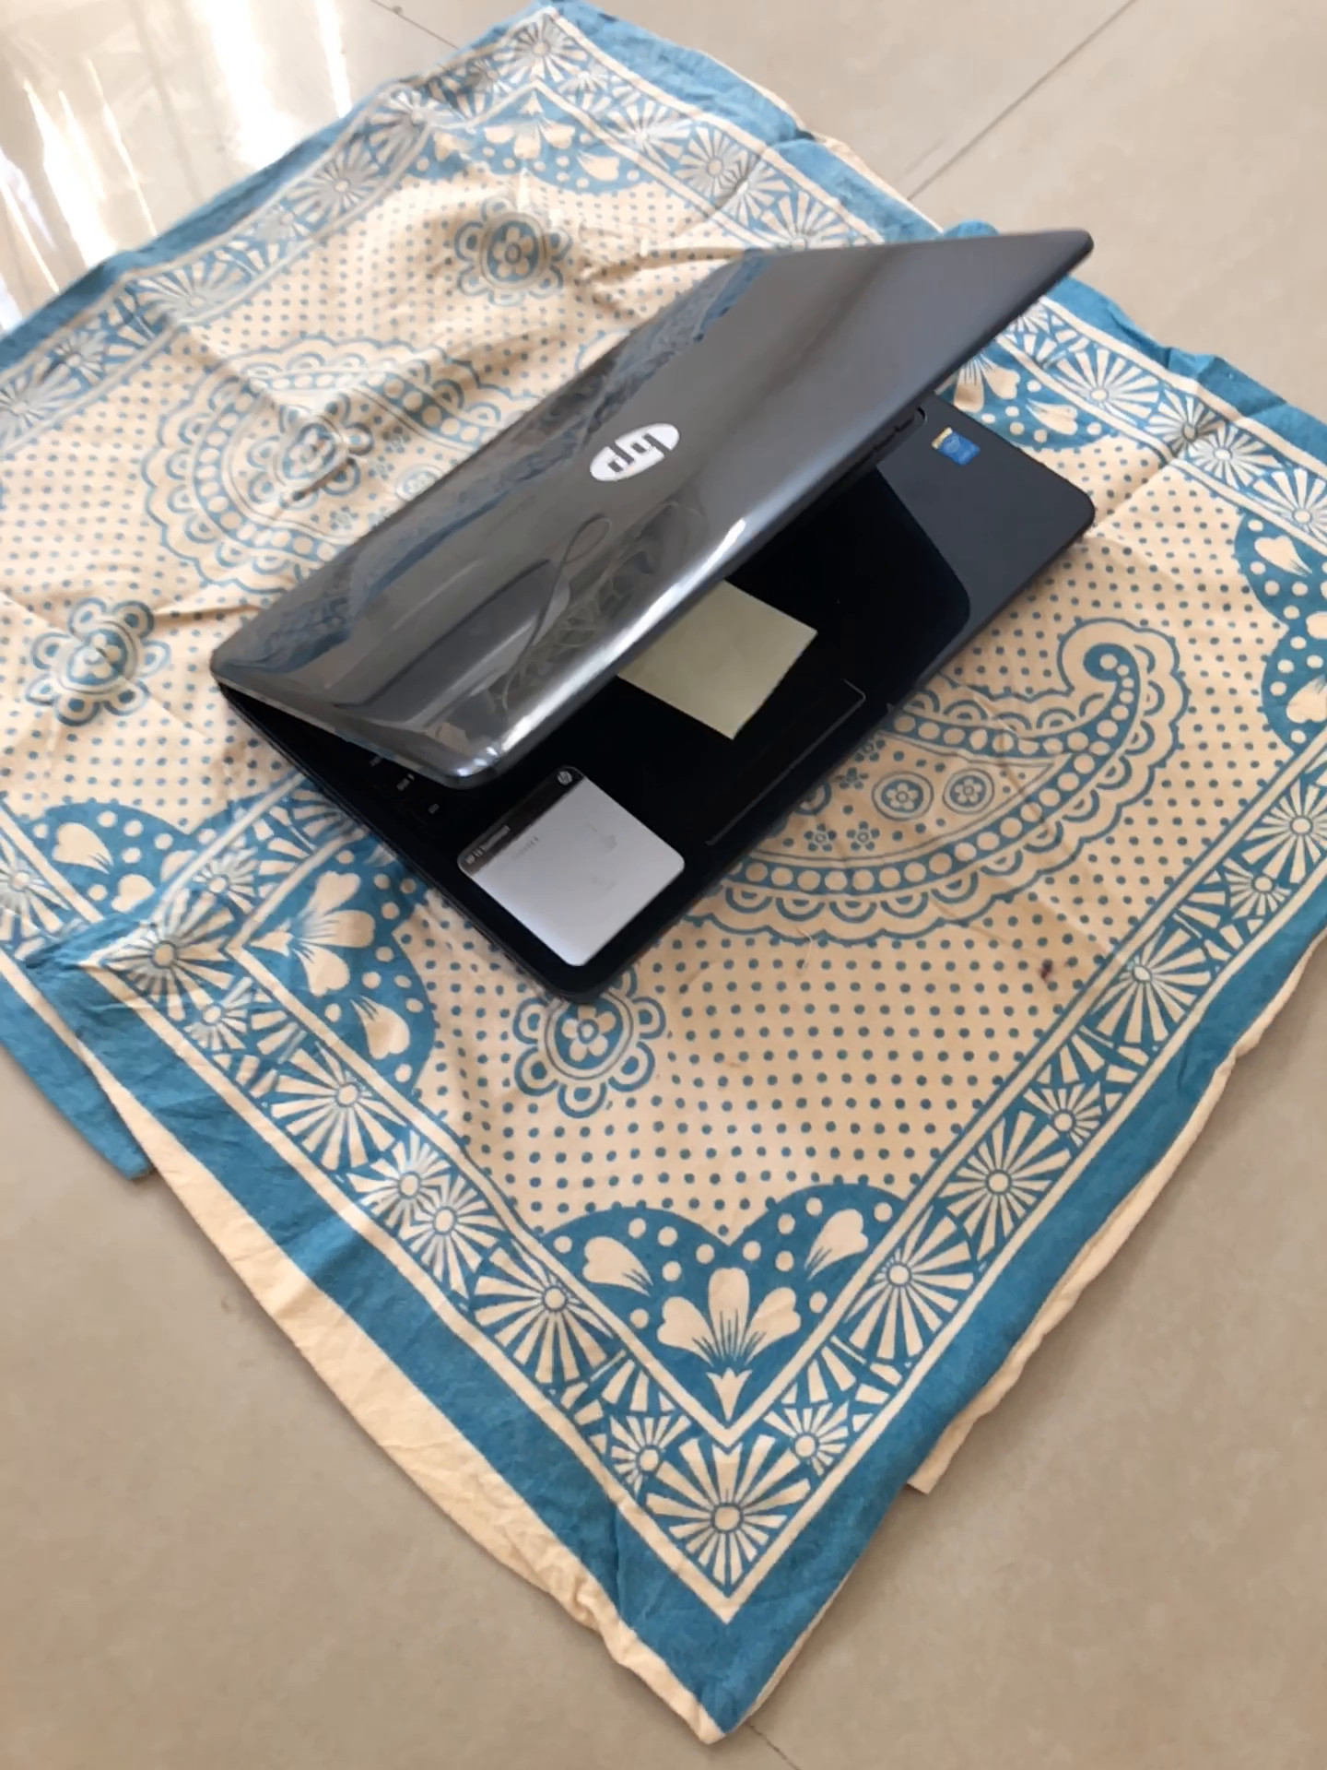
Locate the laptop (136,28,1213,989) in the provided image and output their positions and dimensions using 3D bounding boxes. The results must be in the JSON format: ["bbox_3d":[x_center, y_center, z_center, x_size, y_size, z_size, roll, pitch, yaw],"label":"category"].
[{"bbox_3d":[0.006,-0.177,0.647,0.364,0.151,0.236,-42,68,-17],"label":"laptop"}]
